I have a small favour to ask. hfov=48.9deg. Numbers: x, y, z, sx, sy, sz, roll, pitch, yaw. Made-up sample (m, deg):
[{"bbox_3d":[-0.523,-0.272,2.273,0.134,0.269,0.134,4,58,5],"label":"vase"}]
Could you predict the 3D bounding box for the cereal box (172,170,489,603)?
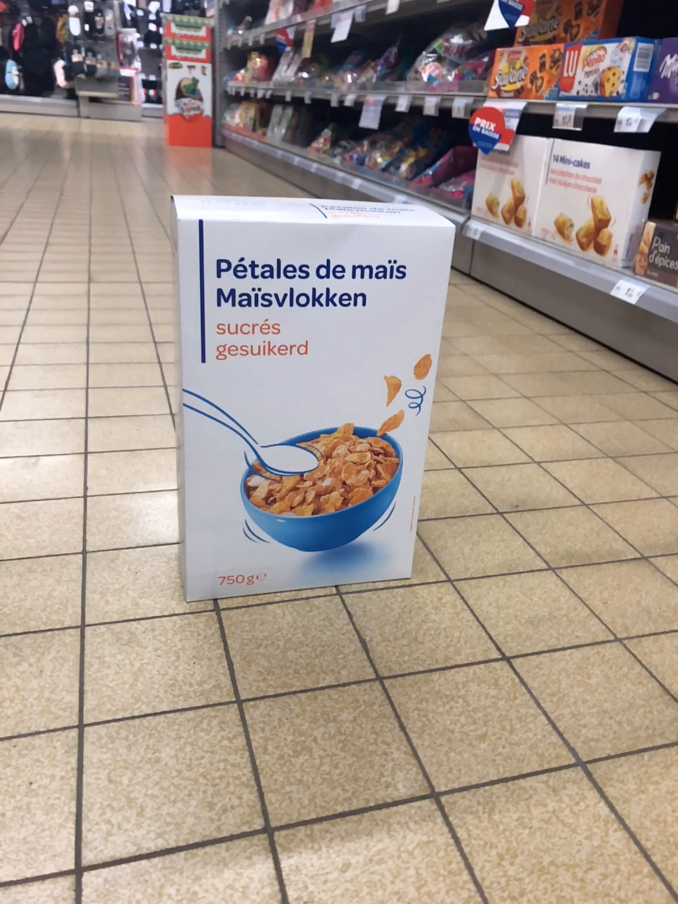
[{"bbox_3d":[-0.022,-0.049,0.577,0.200,0.298,0.110,-2,25,-15],"label":"cereal box"}]
